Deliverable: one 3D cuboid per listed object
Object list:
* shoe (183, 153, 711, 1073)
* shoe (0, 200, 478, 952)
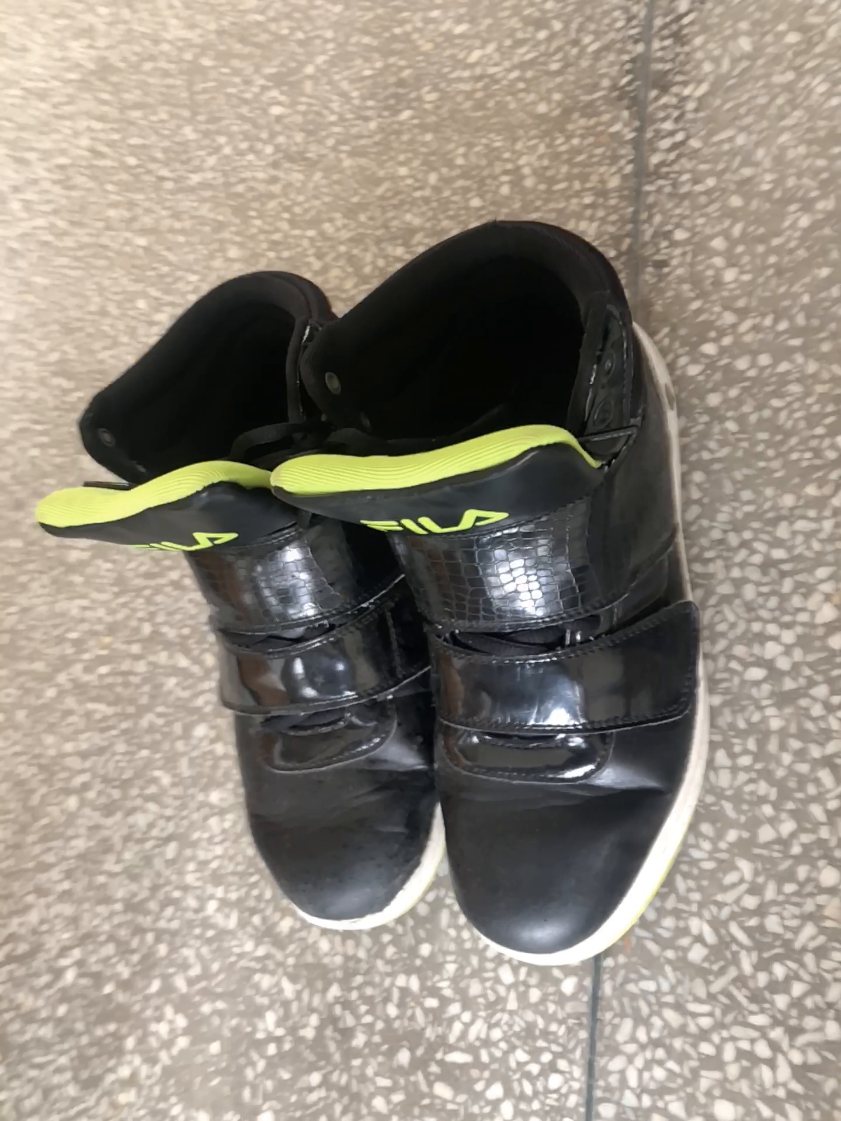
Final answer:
[{"bbox_3d":[0.026,0.022,0.336,0.120,0.147,0.250,-5,71,25],"label":"shoe"},{"bbox_3d":[-0.067,0.018,0.407,0.120,0.147,0.270,-12,69,23],"label":"shoe"}]
